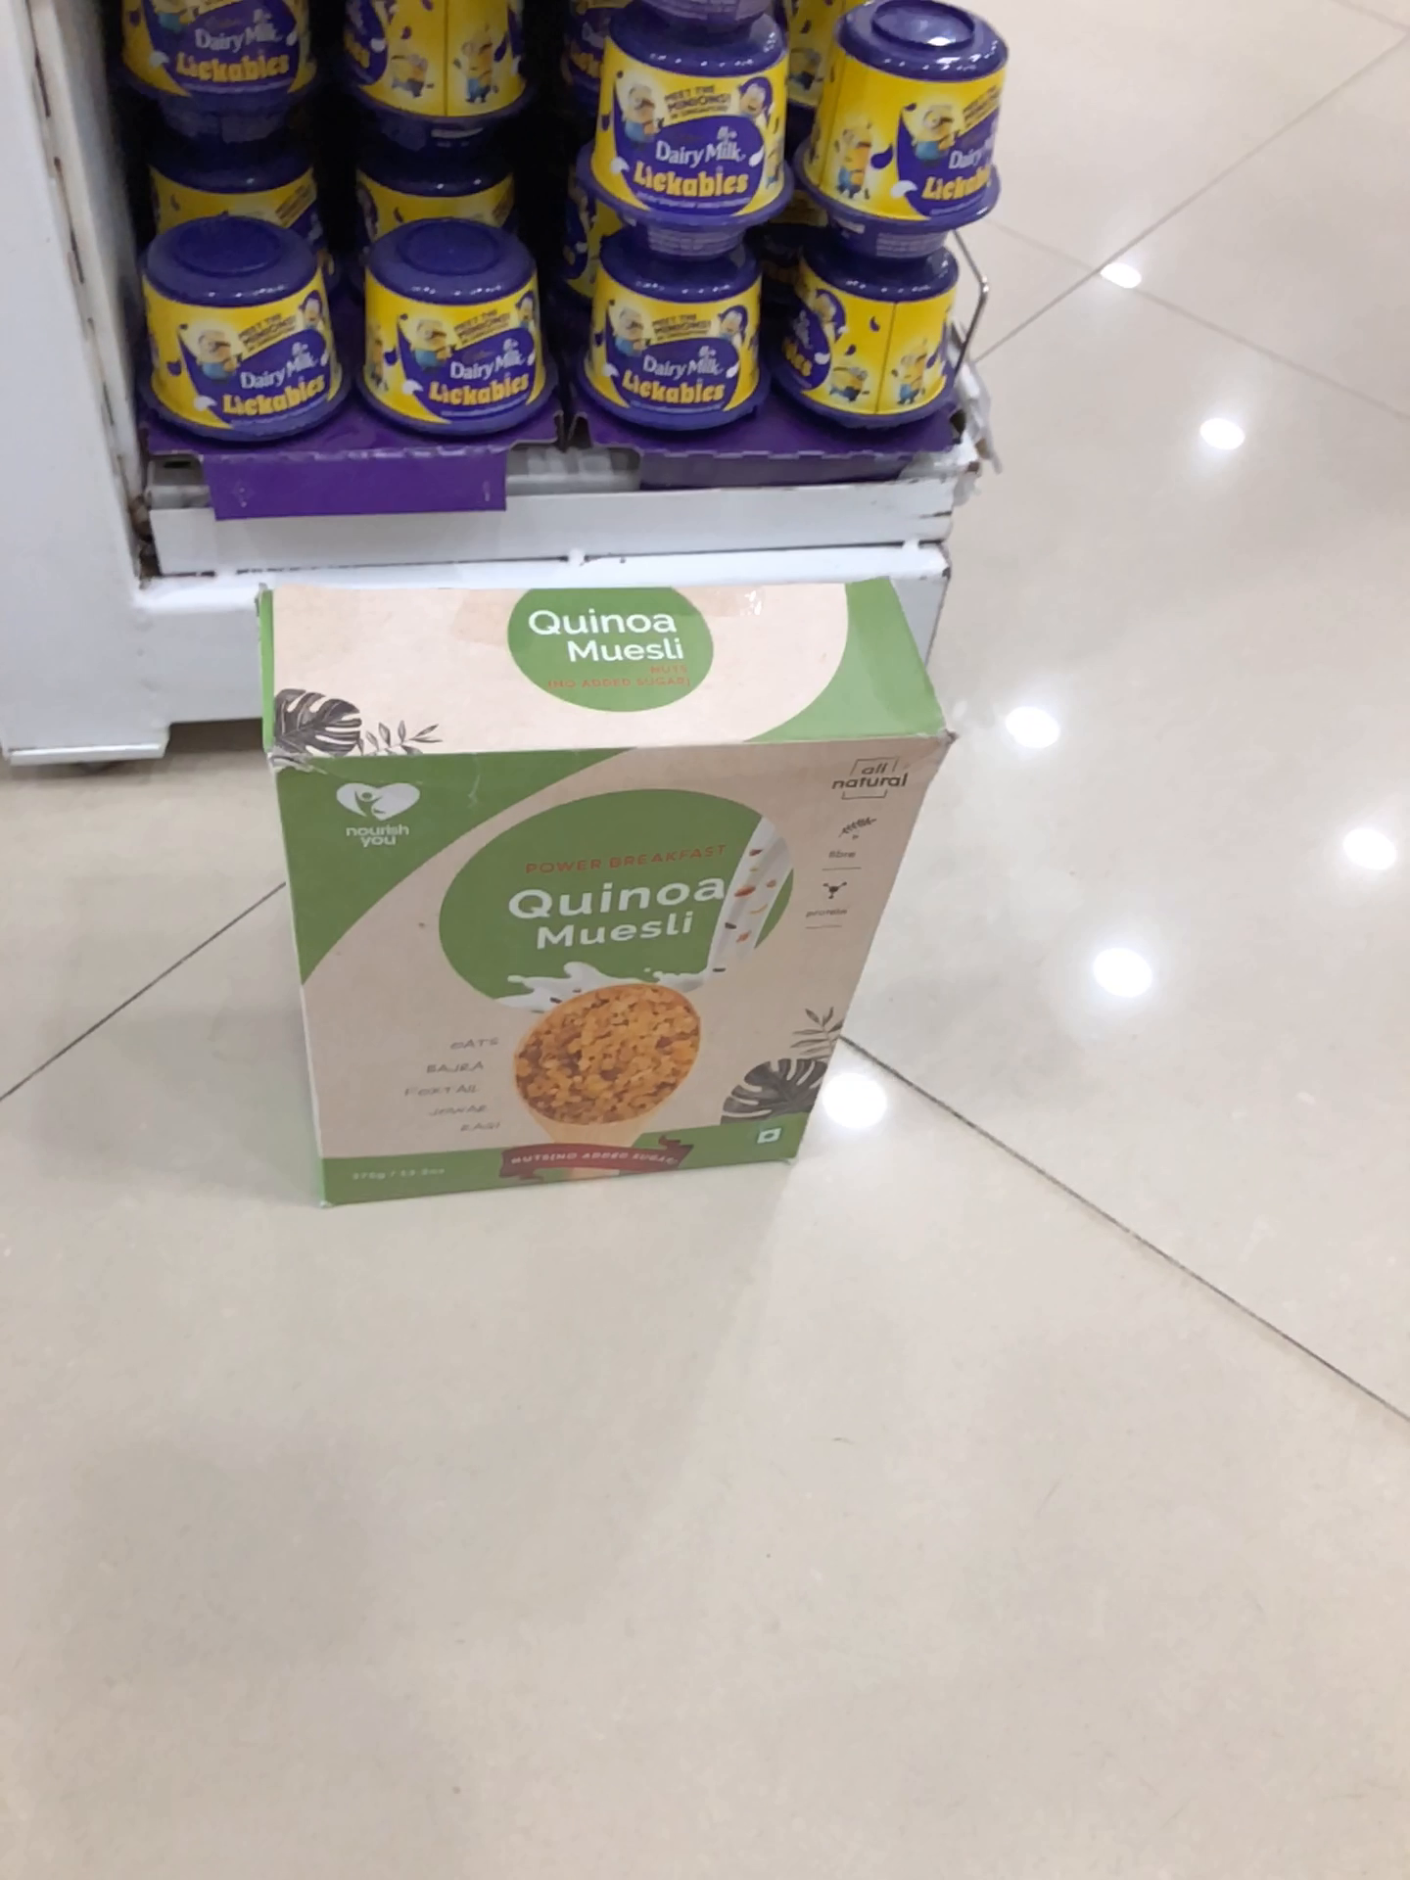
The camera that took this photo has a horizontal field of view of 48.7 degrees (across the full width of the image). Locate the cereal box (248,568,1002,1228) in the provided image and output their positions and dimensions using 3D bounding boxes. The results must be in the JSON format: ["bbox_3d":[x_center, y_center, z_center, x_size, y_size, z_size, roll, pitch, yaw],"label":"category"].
[{"bbox_3d":[-0.030,-0.003,0.418,0.160,0.189,0.060,-4,52,-13],"label":"cereal box"}]
